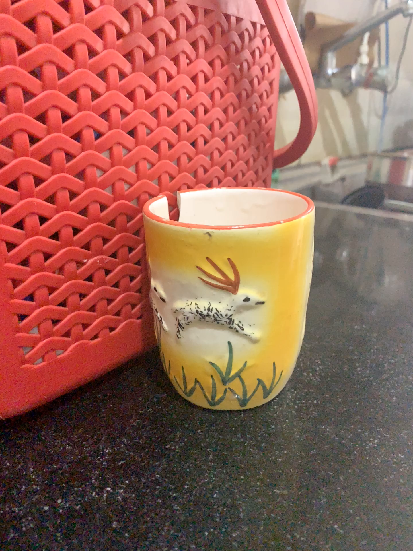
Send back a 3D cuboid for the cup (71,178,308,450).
[{"bbox_3d":[-0.005,0.008,0.222,0.080,0.099,0.080,-1,20,0],"label":"cup"}]
